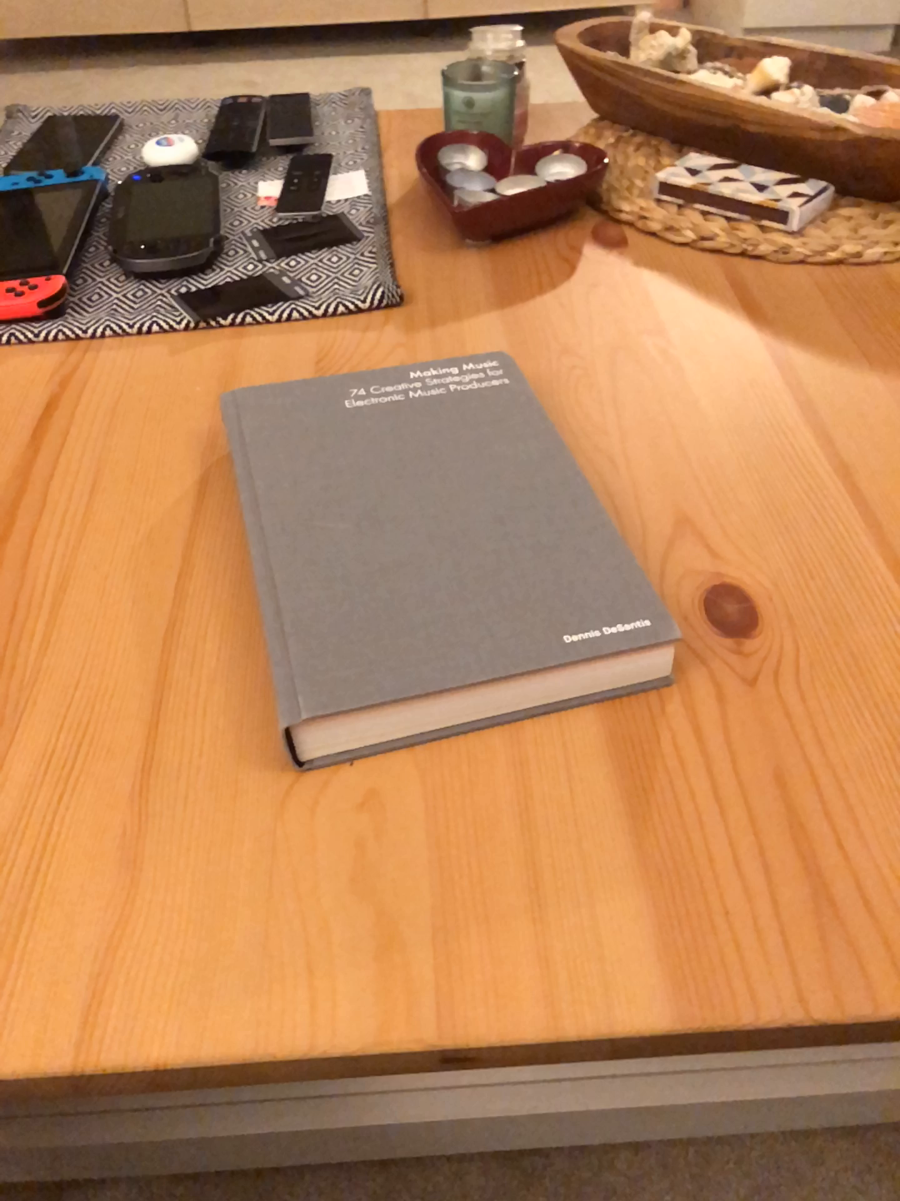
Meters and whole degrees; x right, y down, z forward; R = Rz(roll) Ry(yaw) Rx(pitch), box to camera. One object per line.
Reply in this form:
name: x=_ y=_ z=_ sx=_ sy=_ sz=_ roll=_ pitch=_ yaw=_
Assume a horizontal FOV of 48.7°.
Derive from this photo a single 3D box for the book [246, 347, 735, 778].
book: x=0.003 y=-0.036 z=0.463 sx=0.167 sy=0.030 sz=0.228 roll=-11 pitch=45 yaw=-9
